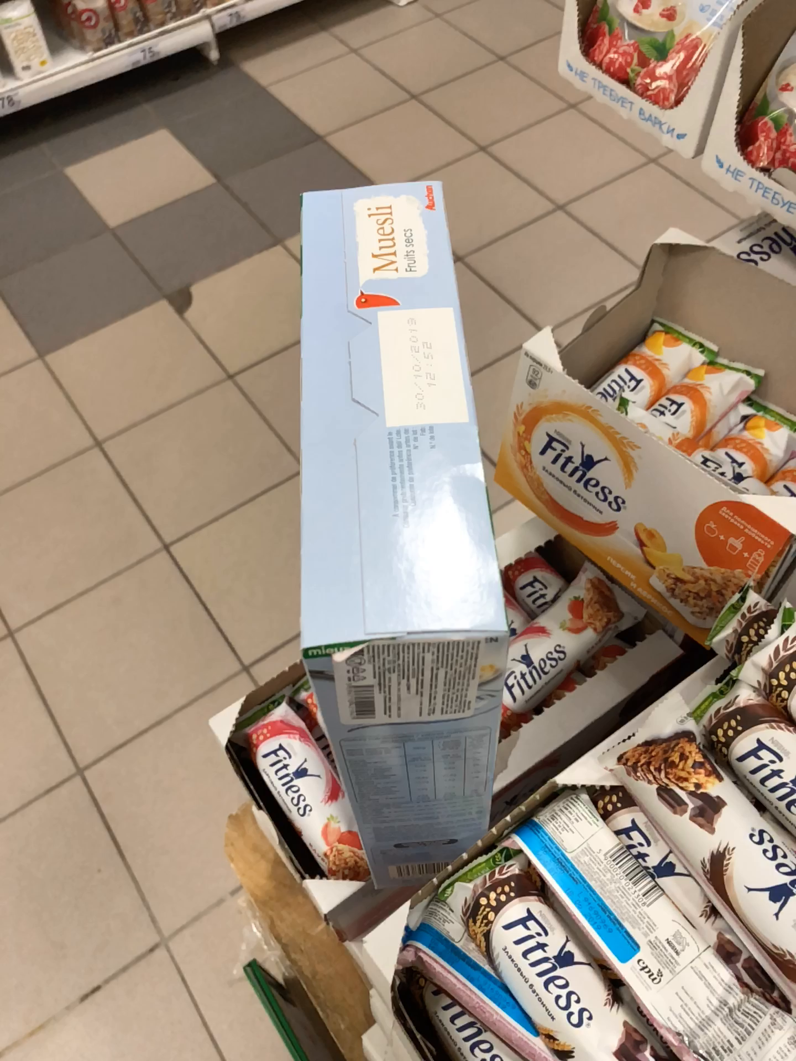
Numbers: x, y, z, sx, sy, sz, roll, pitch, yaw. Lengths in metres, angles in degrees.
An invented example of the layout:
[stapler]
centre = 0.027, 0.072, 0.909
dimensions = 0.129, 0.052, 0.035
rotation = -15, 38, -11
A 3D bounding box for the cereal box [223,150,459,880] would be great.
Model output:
[cereal box]
centre = -0.011, 0.020, 0.399
dimensions = 0.060, 0.289, 0.201
rotation = -2, 56, 1
